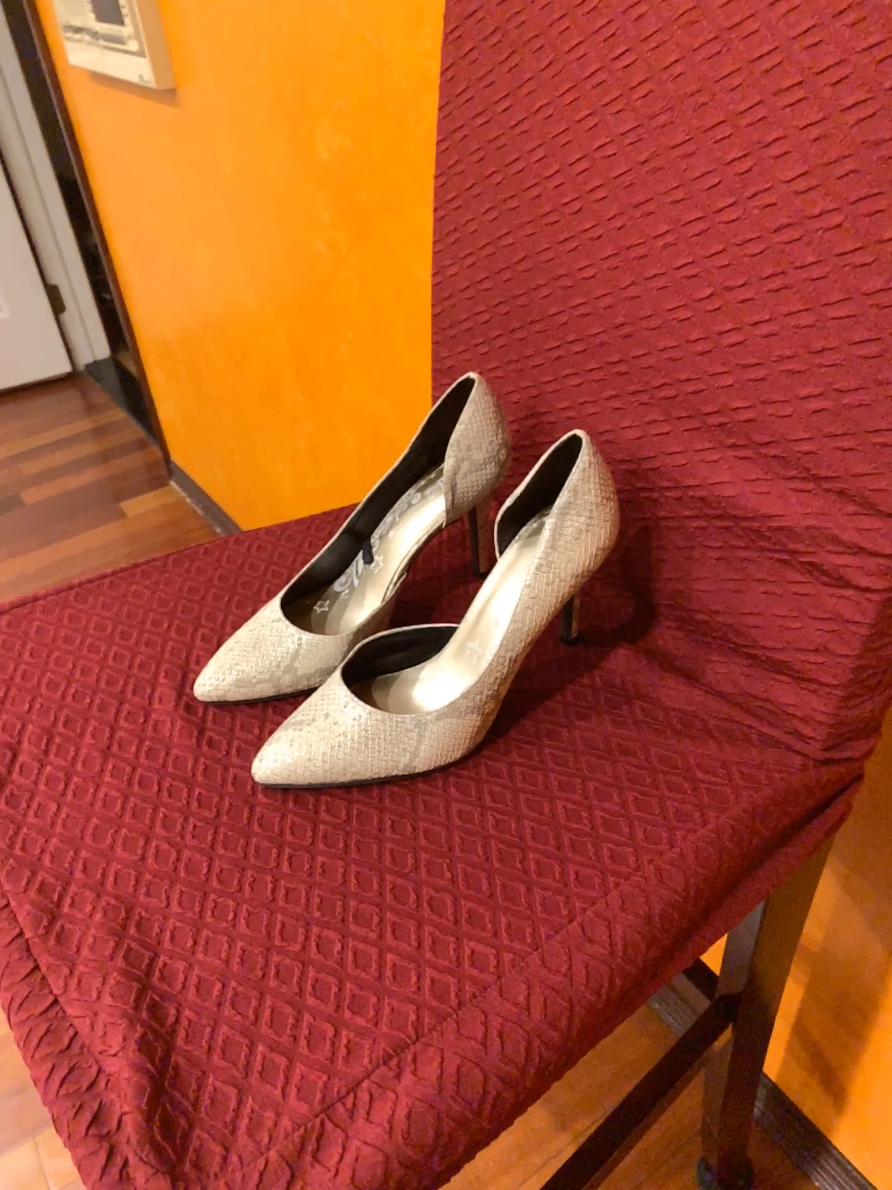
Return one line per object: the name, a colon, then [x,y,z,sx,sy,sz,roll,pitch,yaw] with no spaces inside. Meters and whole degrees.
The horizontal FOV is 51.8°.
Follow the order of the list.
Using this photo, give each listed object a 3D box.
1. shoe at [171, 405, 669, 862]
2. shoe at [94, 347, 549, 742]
shoe: [-0.002,0.011,0.503,0.248,0.120,0.090,-30,46,-24]
shoe: [-0.061,-0.040,0.565,0.252,0.119,0.090,-30,46,-24]
